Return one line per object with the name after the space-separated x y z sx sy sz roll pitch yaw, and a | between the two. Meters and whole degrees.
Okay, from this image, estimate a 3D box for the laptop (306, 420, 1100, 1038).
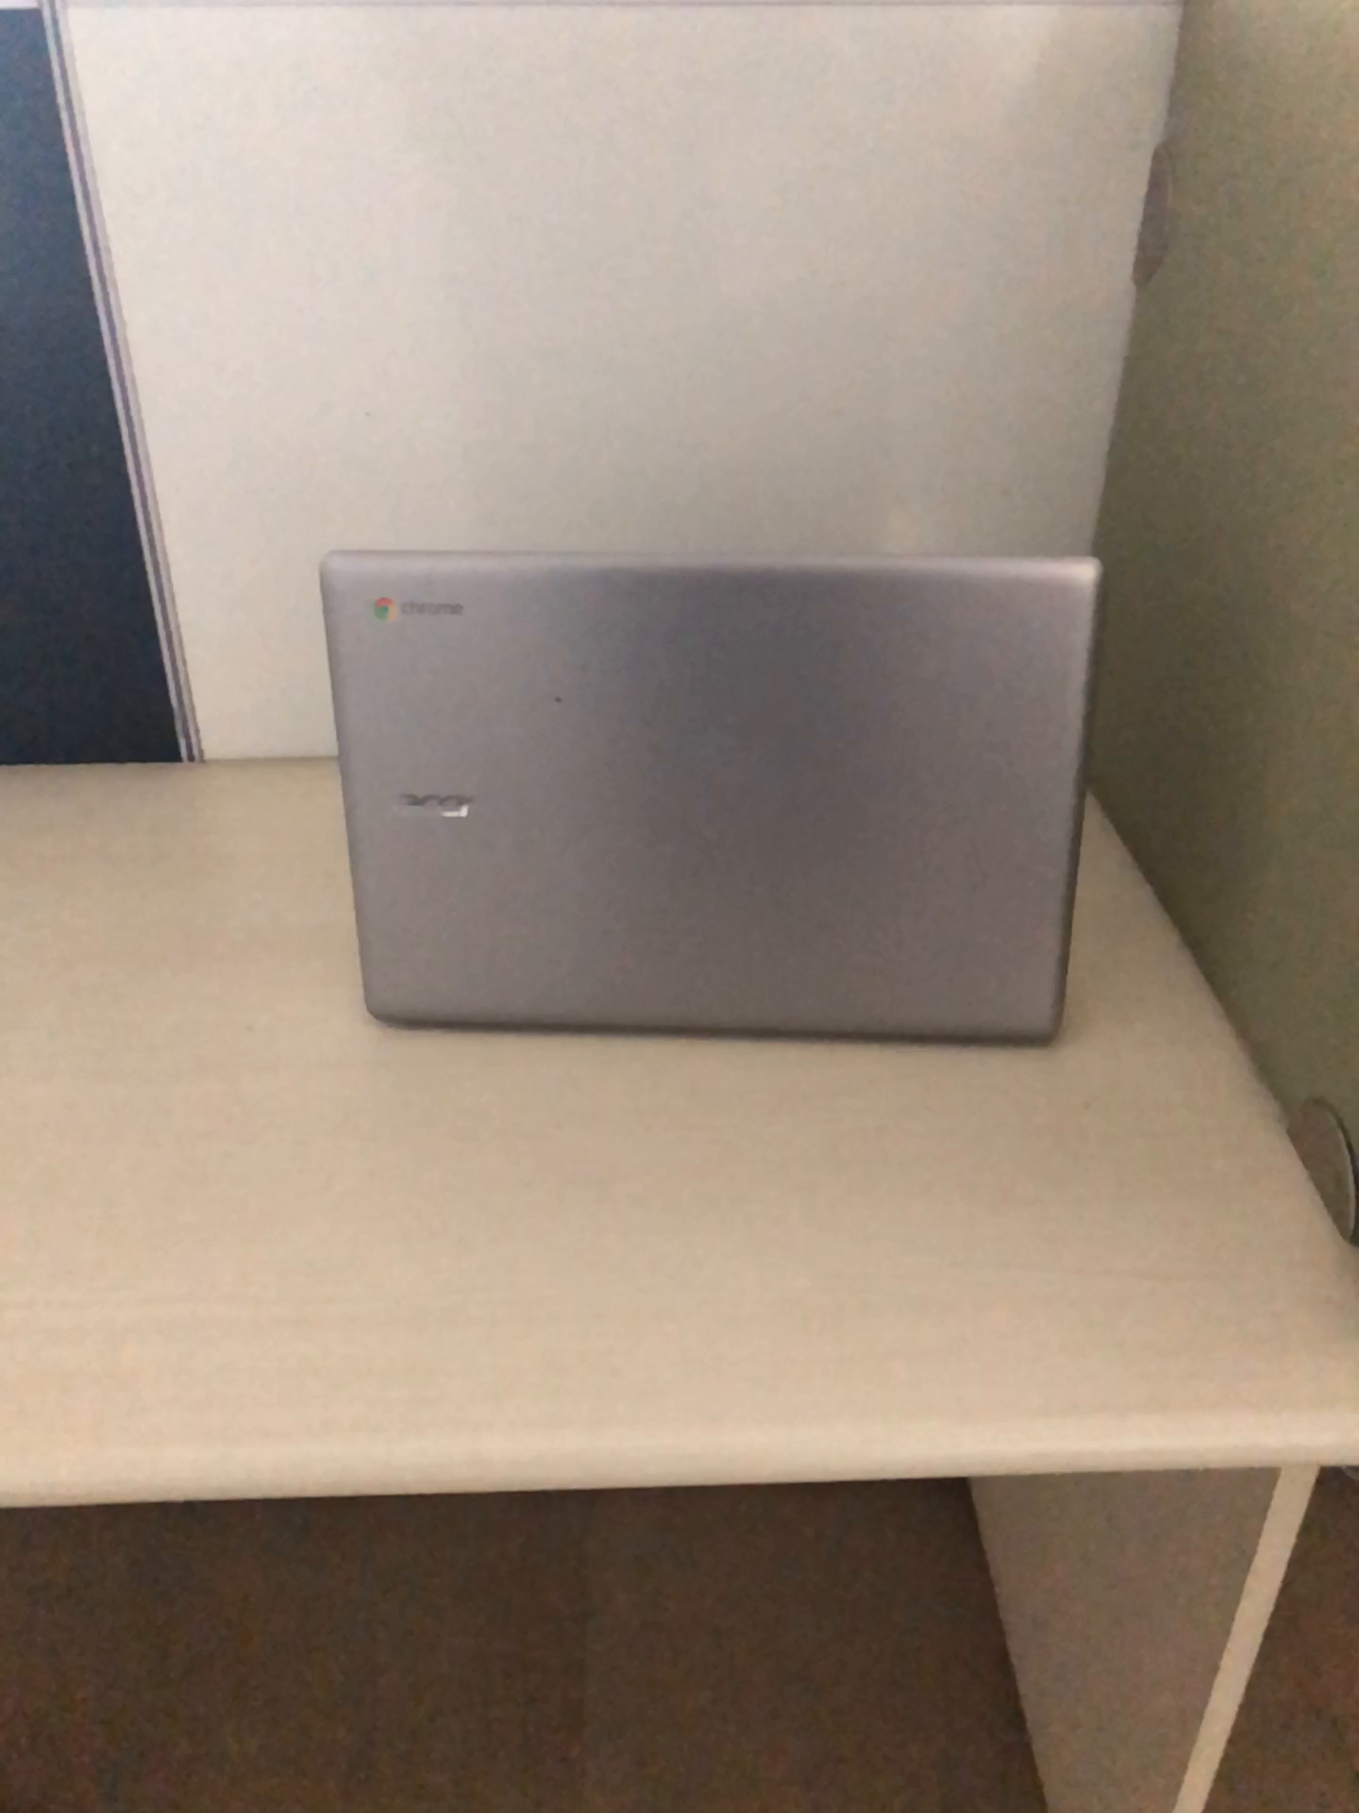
0.020 -0.098 0.752 0.321 0.218 0.222 3 31 2 | laptop
